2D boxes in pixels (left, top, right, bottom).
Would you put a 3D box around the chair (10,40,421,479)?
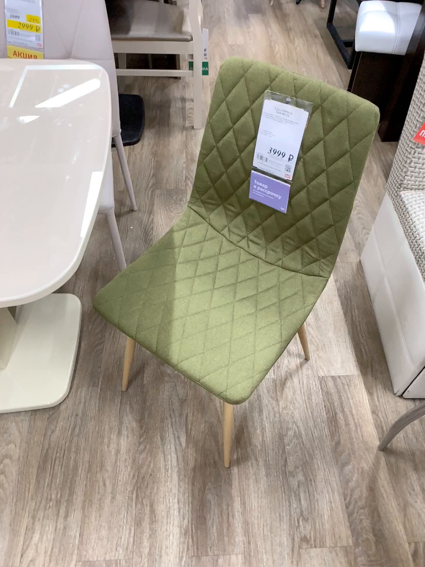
[{"bbox_3d":[0.029,-0.012,1.104,0.501,0.837,0.562,30,58,21],"label":"chair"}]
